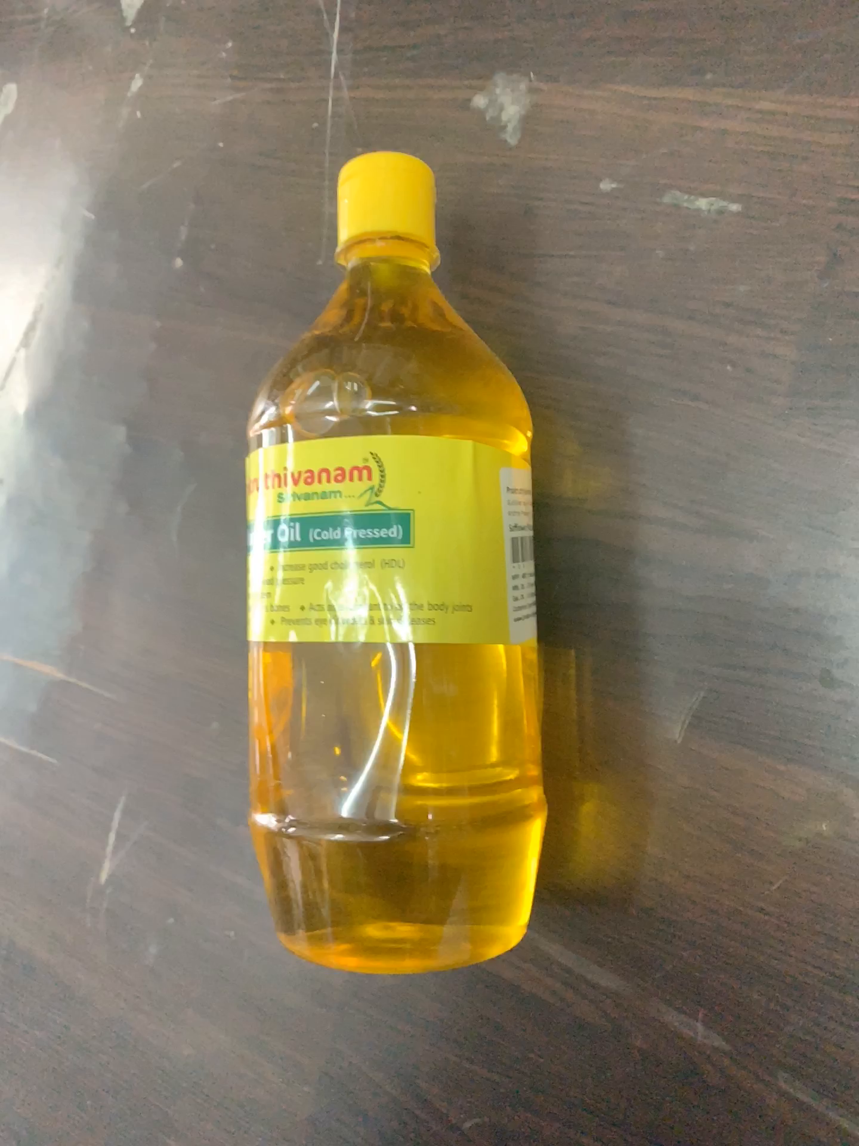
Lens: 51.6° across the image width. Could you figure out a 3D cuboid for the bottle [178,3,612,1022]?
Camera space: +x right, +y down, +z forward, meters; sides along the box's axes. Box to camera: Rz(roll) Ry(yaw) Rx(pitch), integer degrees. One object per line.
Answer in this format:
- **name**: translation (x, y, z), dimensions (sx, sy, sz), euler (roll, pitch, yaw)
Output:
- **bottle**: translation (-0.012, -0.014, 0.260), dimensions (0.090, 0.080, 0.230), euler (-4, 86, 42)
